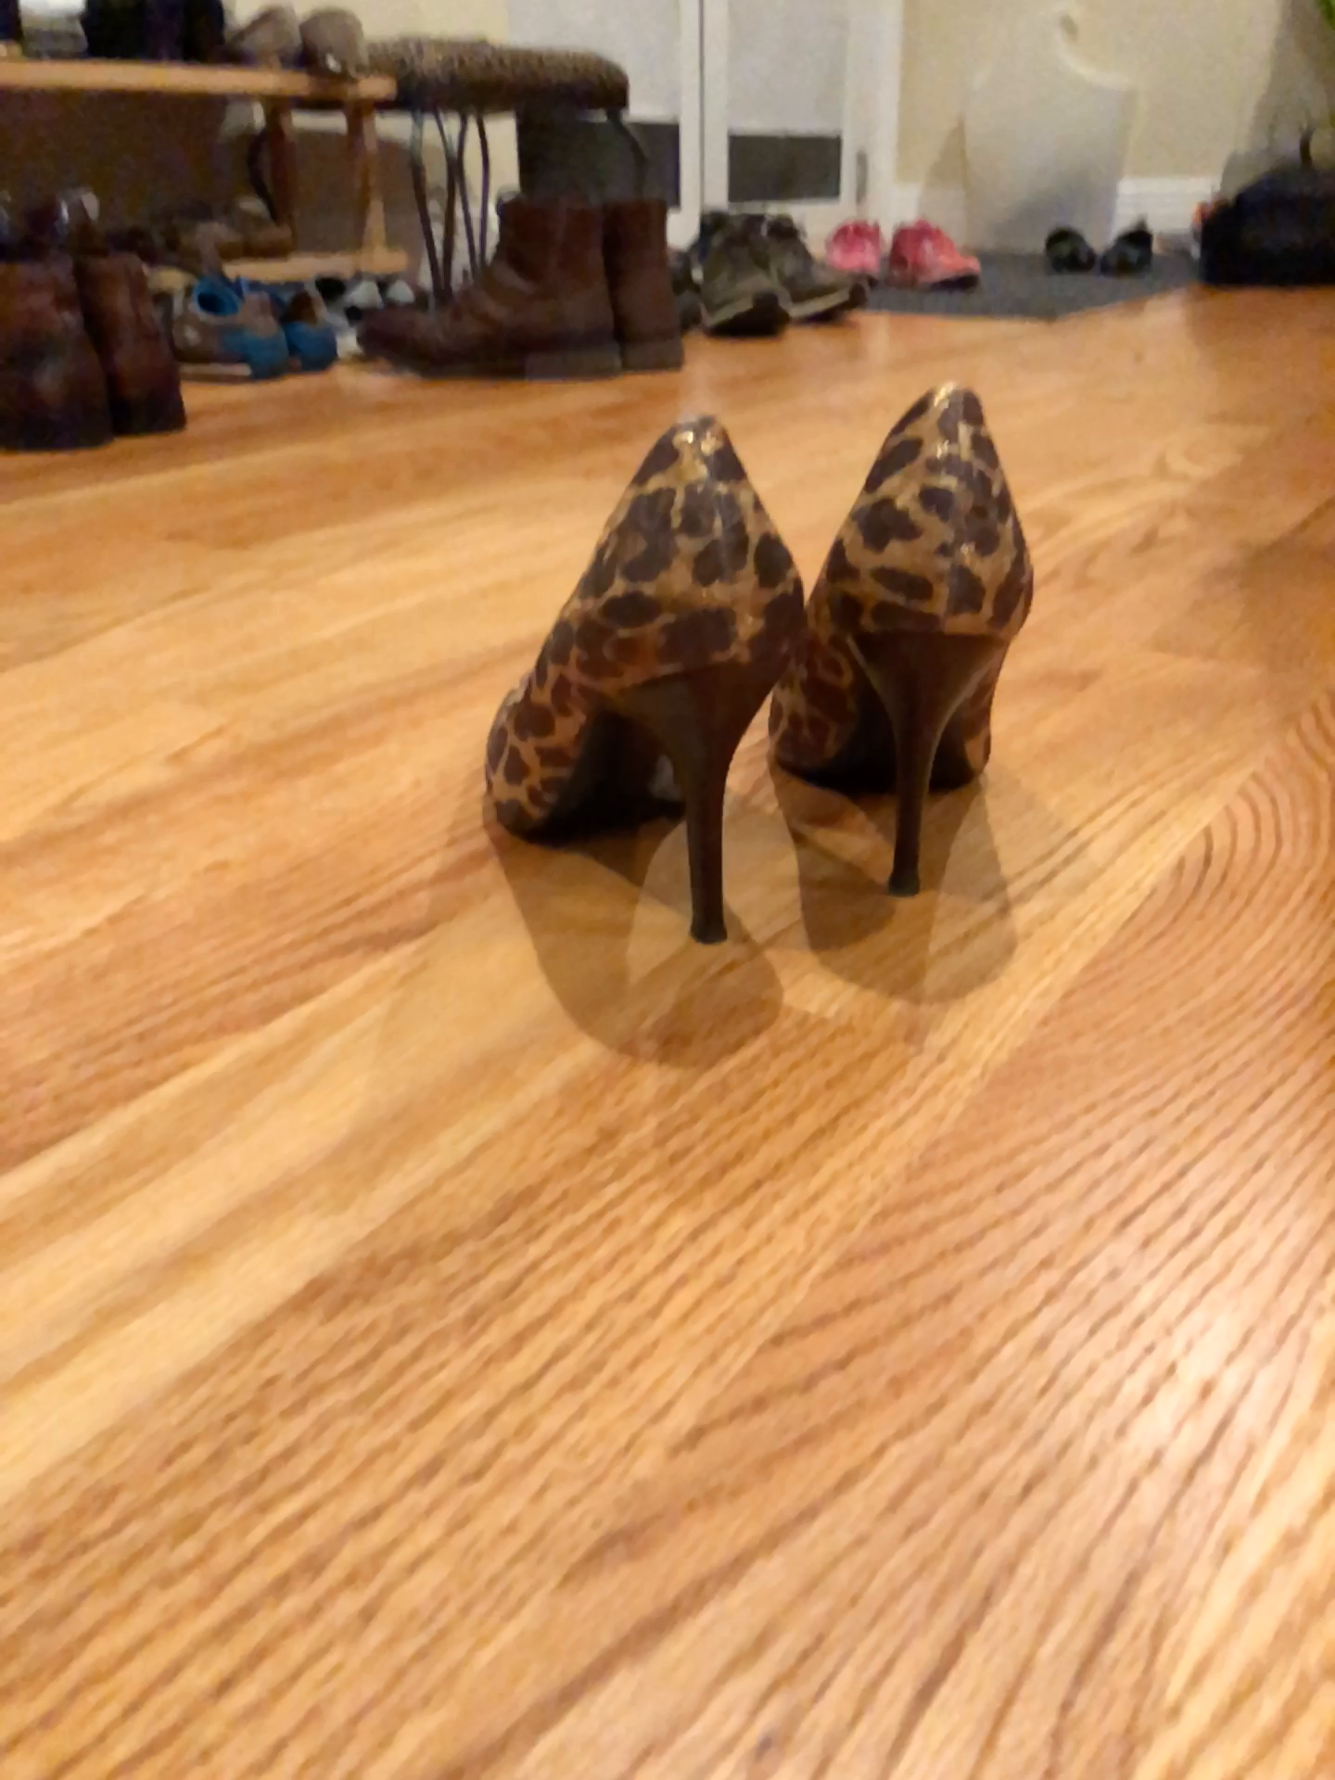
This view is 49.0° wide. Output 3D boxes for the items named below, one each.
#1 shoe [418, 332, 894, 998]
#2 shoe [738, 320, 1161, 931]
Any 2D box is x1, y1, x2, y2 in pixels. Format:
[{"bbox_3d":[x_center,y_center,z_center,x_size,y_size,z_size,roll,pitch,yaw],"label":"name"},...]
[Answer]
[{"bbox_3d":[-0.016,-0.088,0.459,0.084,0.144,0.219,-8,26,-14],"label":"shoe"},{"bbox_3d":[0.075,-0.102,0.487,0.083,0.144,0.219,-2,25,-2],"label":"shoe"}]
